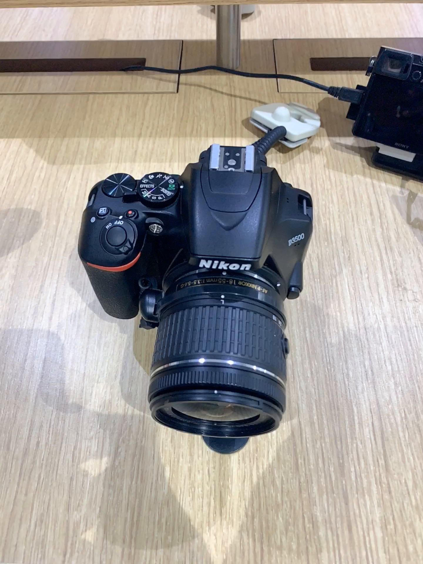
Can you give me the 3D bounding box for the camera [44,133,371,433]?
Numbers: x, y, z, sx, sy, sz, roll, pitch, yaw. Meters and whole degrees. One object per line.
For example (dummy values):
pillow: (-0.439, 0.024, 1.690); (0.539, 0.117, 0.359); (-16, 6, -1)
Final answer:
camera: (0.001, 0.003, 0.203); (0.102, 0.091, 0.104); (2, 58, 2)
